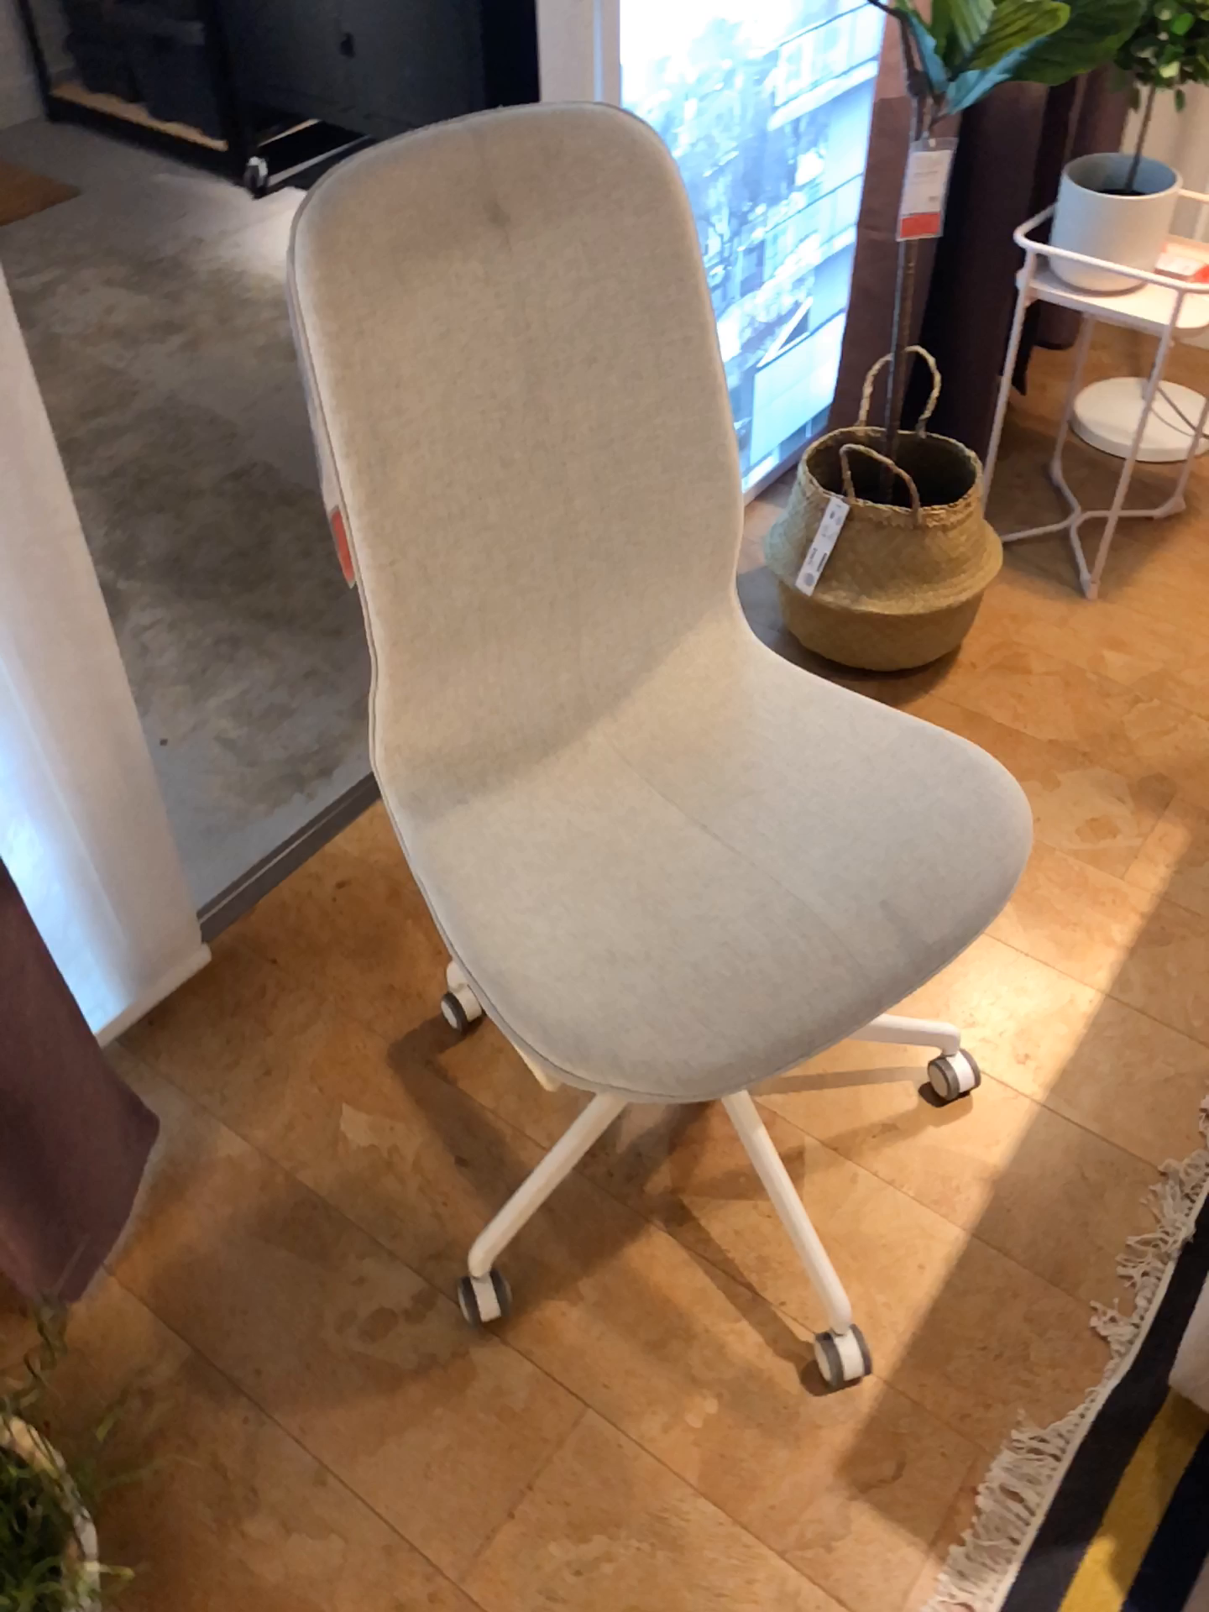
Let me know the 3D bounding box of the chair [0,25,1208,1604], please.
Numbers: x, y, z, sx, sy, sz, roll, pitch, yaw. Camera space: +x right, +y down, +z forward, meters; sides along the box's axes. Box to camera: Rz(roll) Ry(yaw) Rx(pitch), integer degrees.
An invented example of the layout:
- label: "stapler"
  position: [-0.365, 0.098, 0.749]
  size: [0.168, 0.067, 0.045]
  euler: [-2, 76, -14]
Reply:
- label: "chair"
  position: [0.069, 0.001, 1.134]
  size: [0.671, 0.937, 0.691]
  euler: [-33, 53, -28]
